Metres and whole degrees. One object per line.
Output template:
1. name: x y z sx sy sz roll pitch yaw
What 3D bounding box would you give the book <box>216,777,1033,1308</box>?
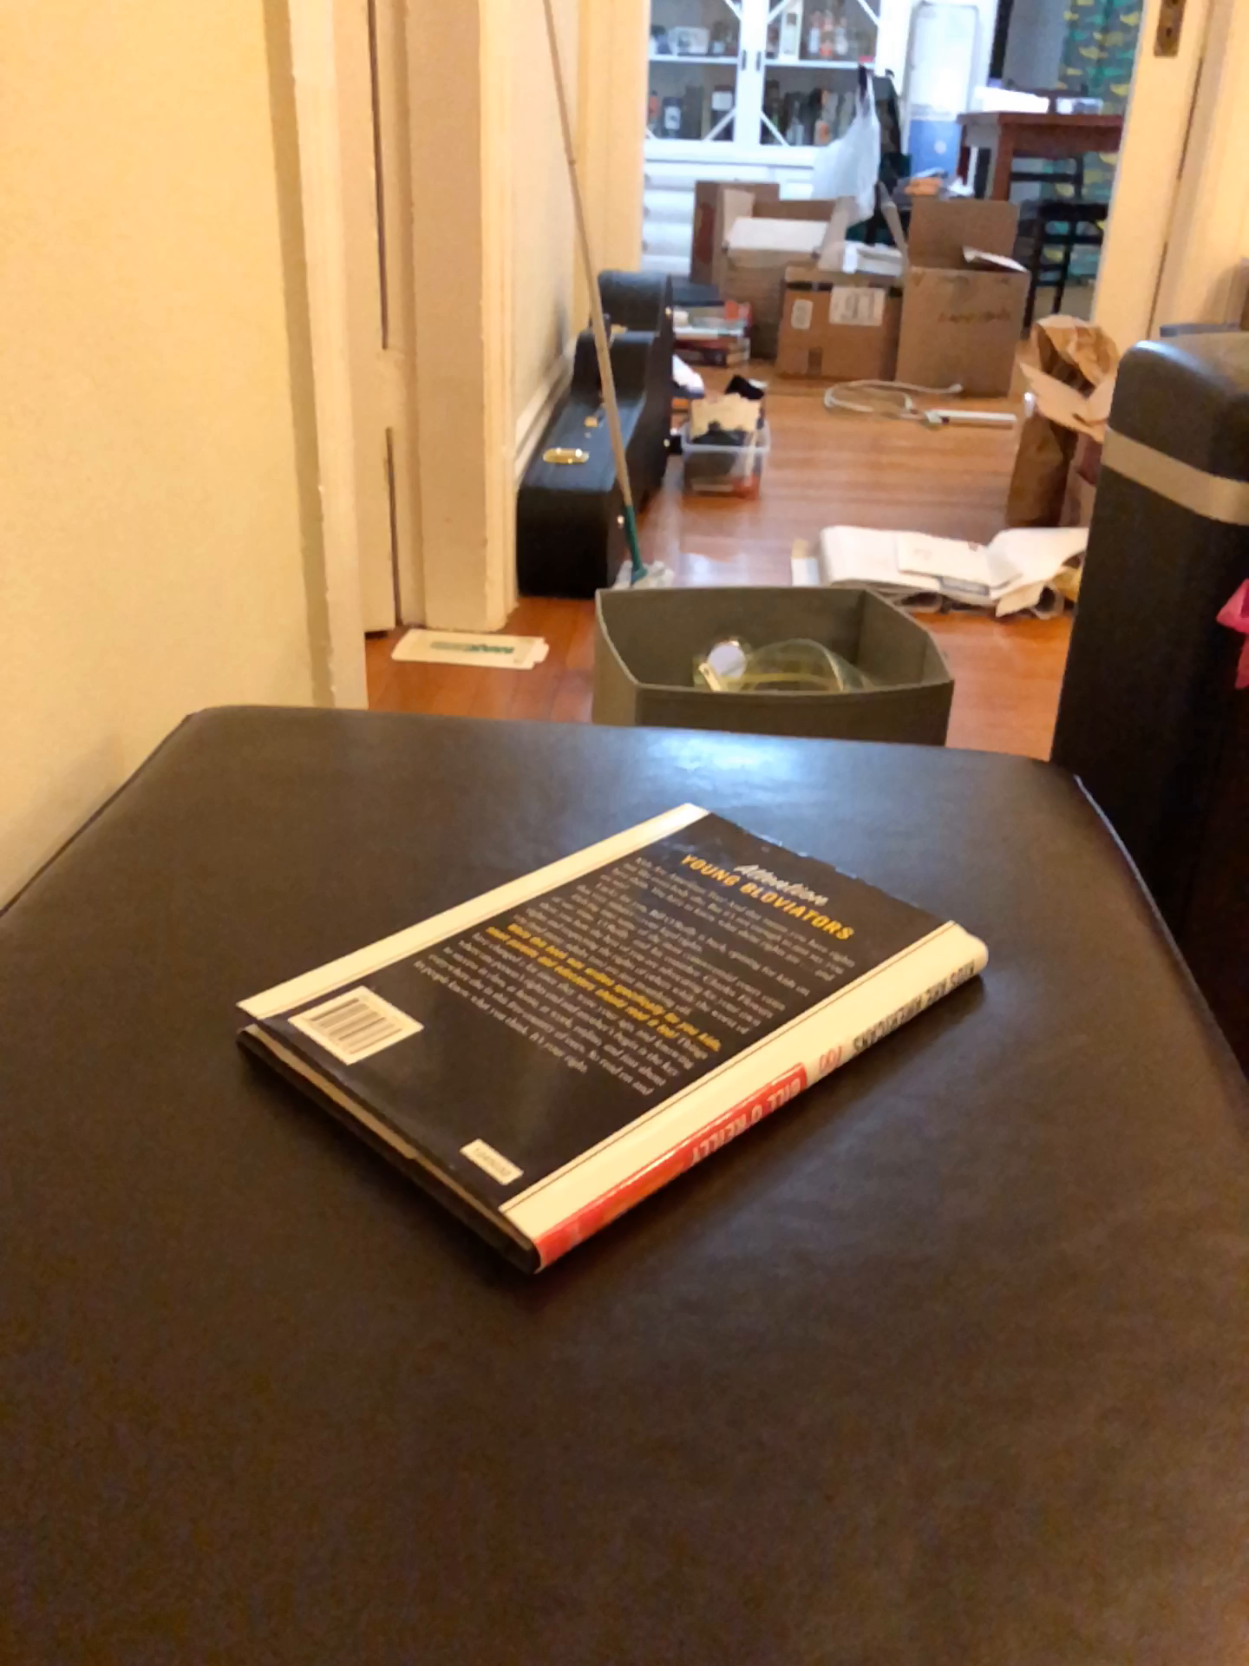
1. book: 0.008 0.048 0.466 0.160 0.020 0.231 25 35 37
